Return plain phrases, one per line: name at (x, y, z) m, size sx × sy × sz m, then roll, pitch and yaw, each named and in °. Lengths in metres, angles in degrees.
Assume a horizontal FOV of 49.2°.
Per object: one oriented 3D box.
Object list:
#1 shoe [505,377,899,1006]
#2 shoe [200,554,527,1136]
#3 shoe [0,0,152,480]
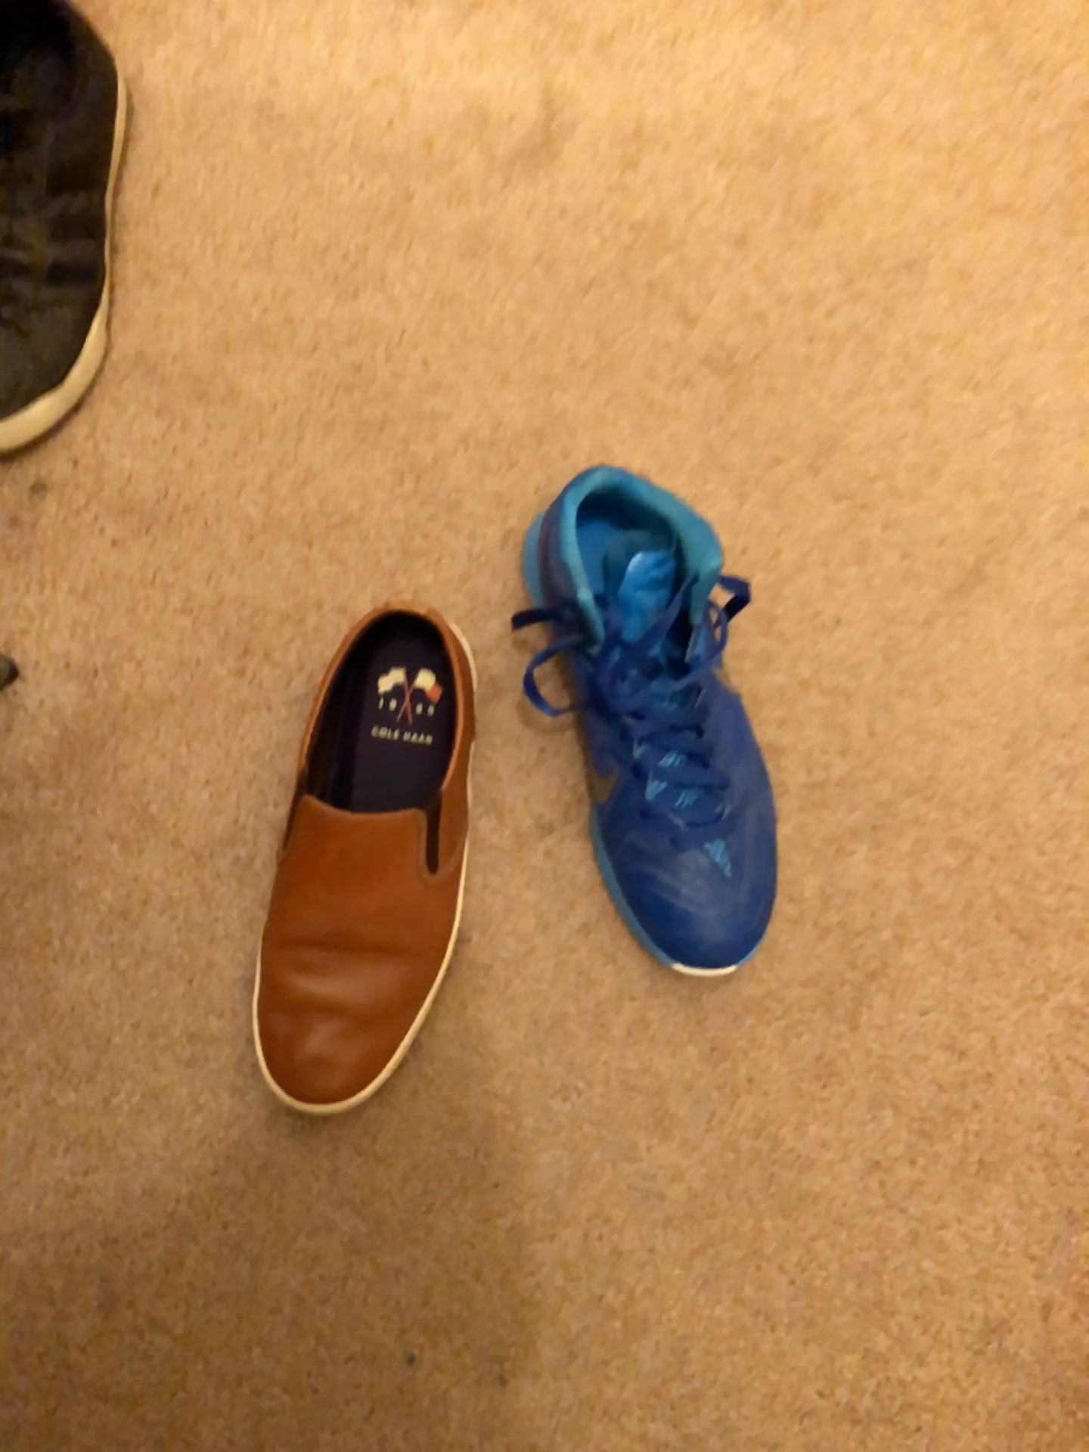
shoe at (0.072, -0.012, 0.647) m, size 0.115 × 0.143 × 0.292 m, roll -13°, pitch 82°, yaw -6°
shoe at (-0.092, 0.062, 0.651) m, size 0.105 × 0.083 × 0.282 m, roll 12°, pitch 80°, yaw -2°
shoe at (-0.312, -0.304, 0.676) m, size 0.115 × 0.113 × 0.292 m, roll 4°, pitch 80°, yaw -3°
